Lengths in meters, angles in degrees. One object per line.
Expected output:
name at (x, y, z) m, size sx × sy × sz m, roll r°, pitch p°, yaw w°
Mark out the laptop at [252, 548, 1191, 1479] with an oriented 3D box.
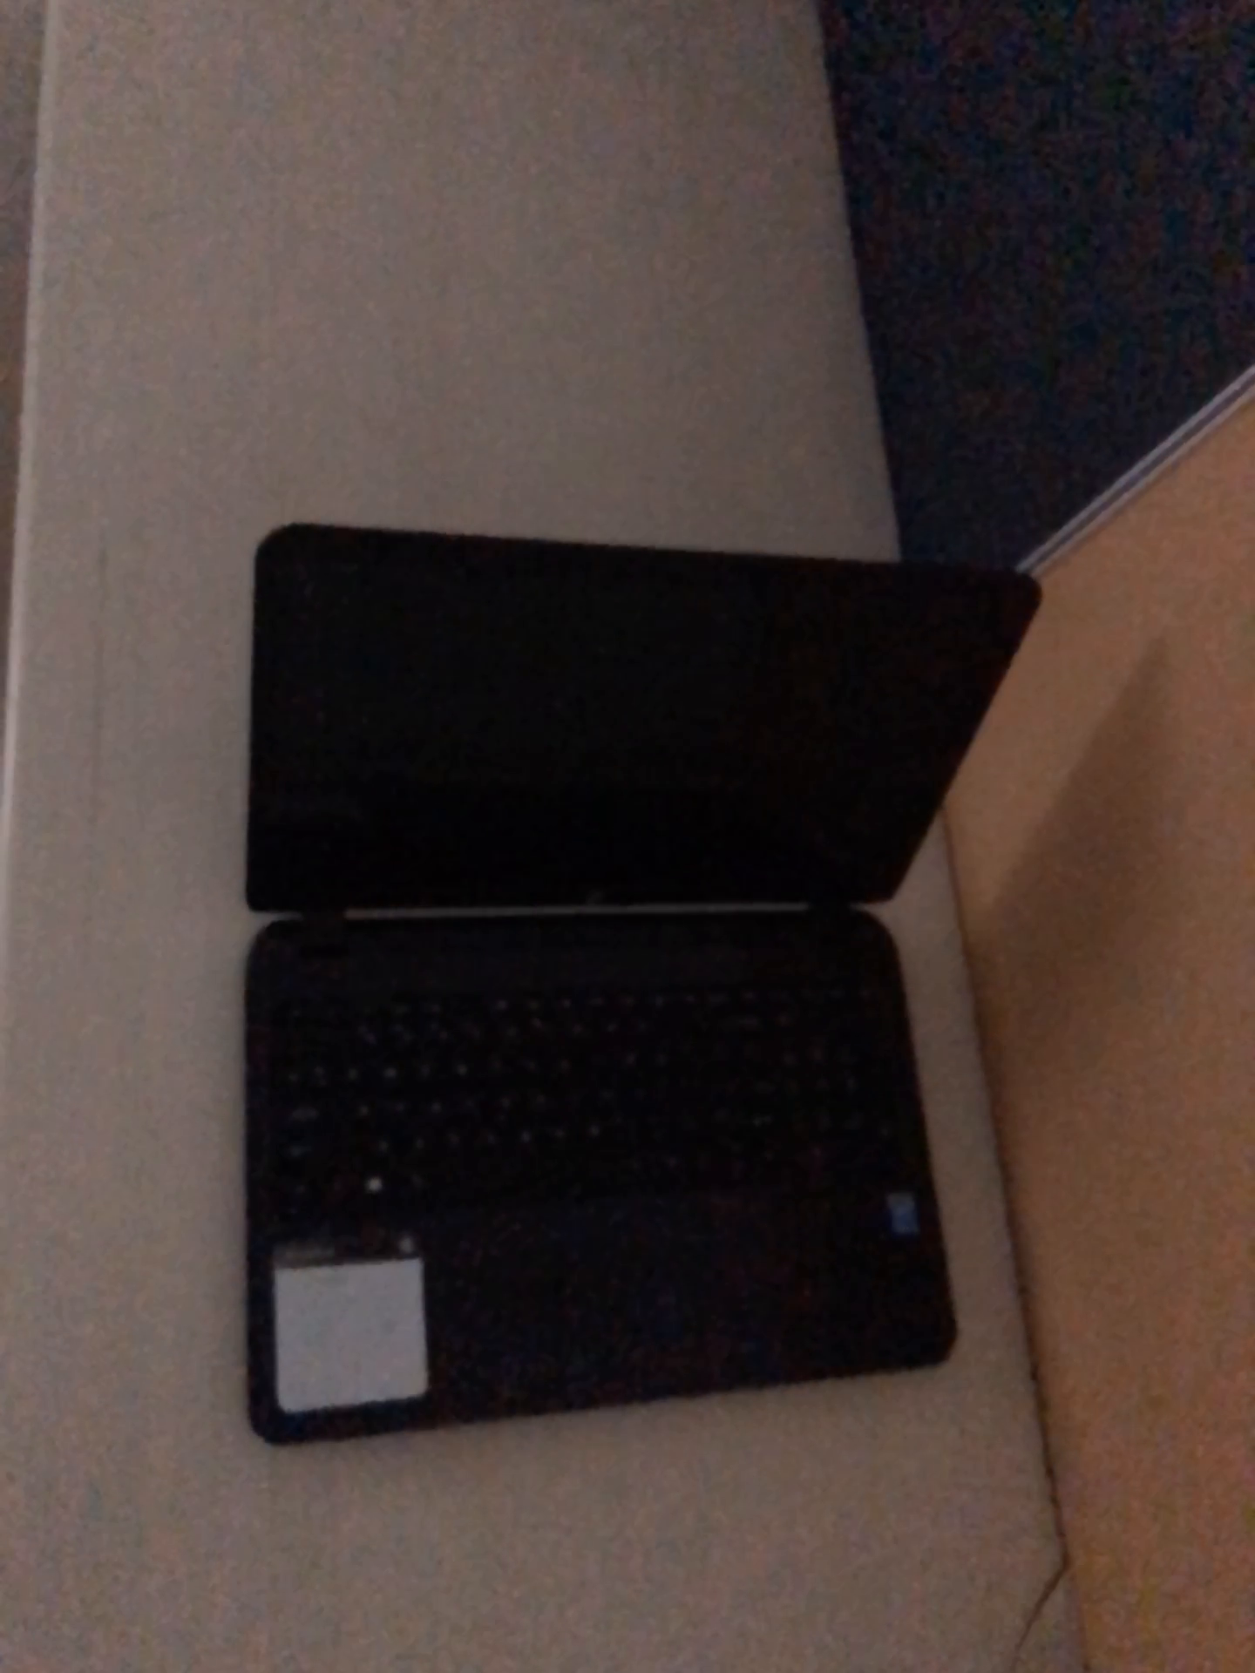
laptop at (0.012, 0.080, 0.663) m, size 0.356 × 0.206 × 0.352 m, roll 1°, pitch 71°, yaw -17°
